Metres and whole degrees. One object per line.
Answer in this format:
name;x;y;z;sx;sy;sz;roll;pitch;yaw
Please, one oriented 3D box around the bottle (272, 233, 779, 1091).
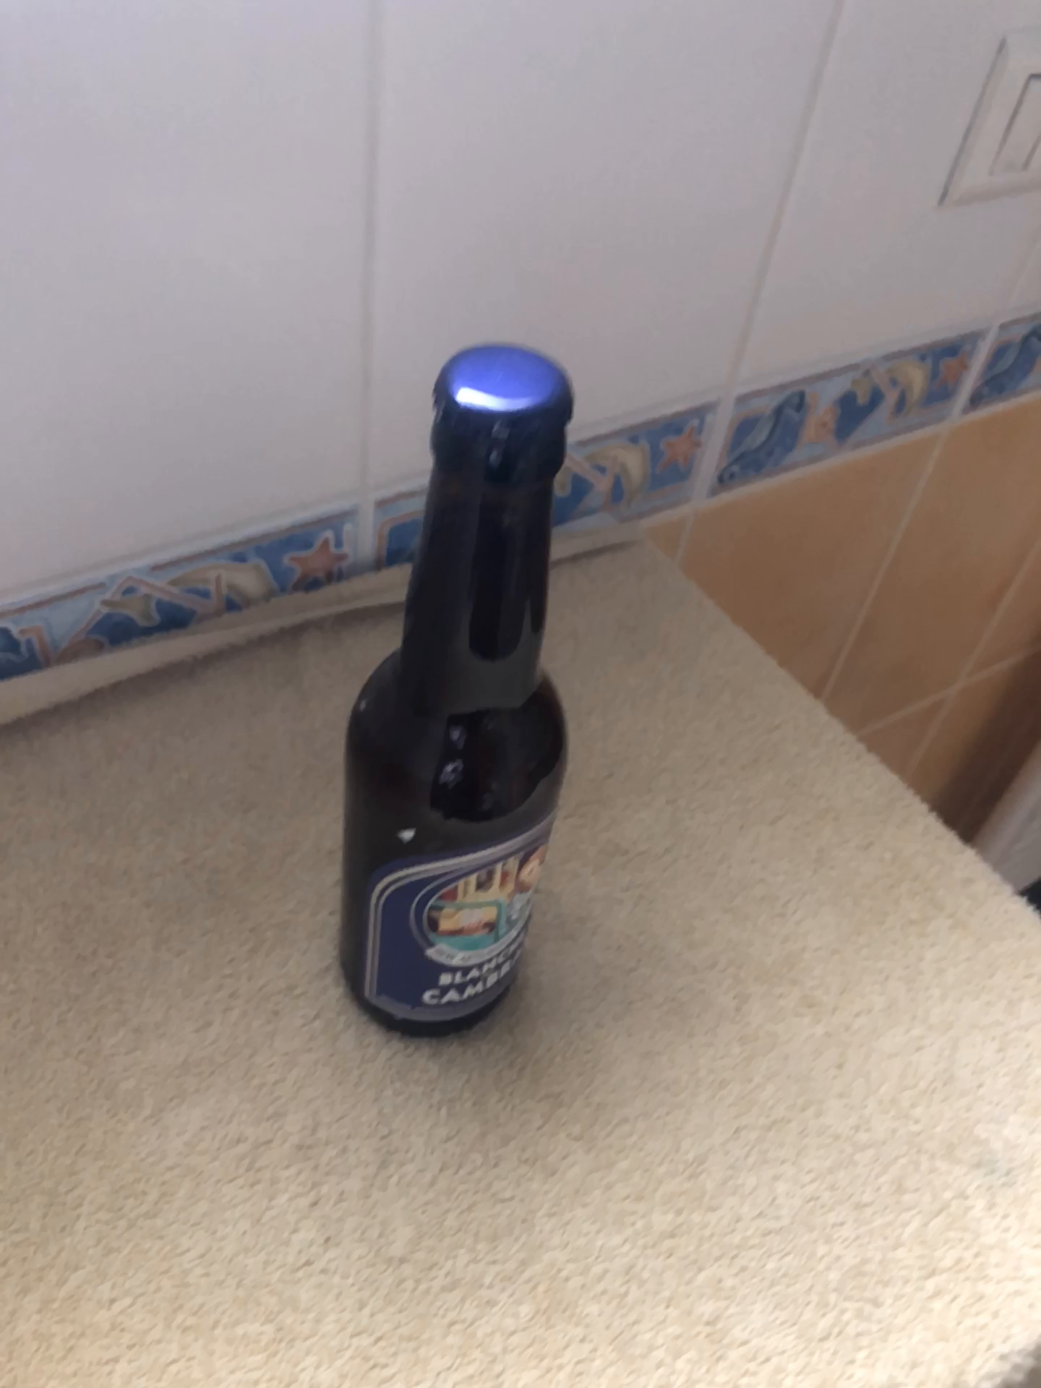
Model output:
bottle;-0.012;0.008;0.300;0.070;0.219;0.070;5;46;-5
